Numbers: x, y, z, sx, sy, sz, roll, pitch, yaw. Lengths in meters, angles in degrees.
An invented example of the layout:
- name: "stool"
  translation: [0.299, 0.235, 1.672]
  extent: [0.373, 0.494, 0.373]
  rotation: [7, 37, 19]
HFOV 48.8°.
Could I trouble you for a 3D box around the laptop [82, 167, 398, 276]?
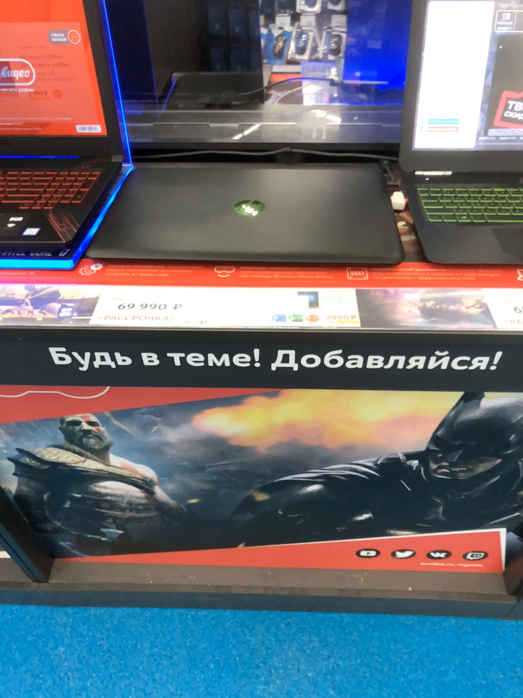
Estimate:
- name: "laptop"
  translation: [-0.021, -0.176, 0.756]
  extent: [0.365, 0.012, 0.234]
  rotation: [3, 42, 2]
